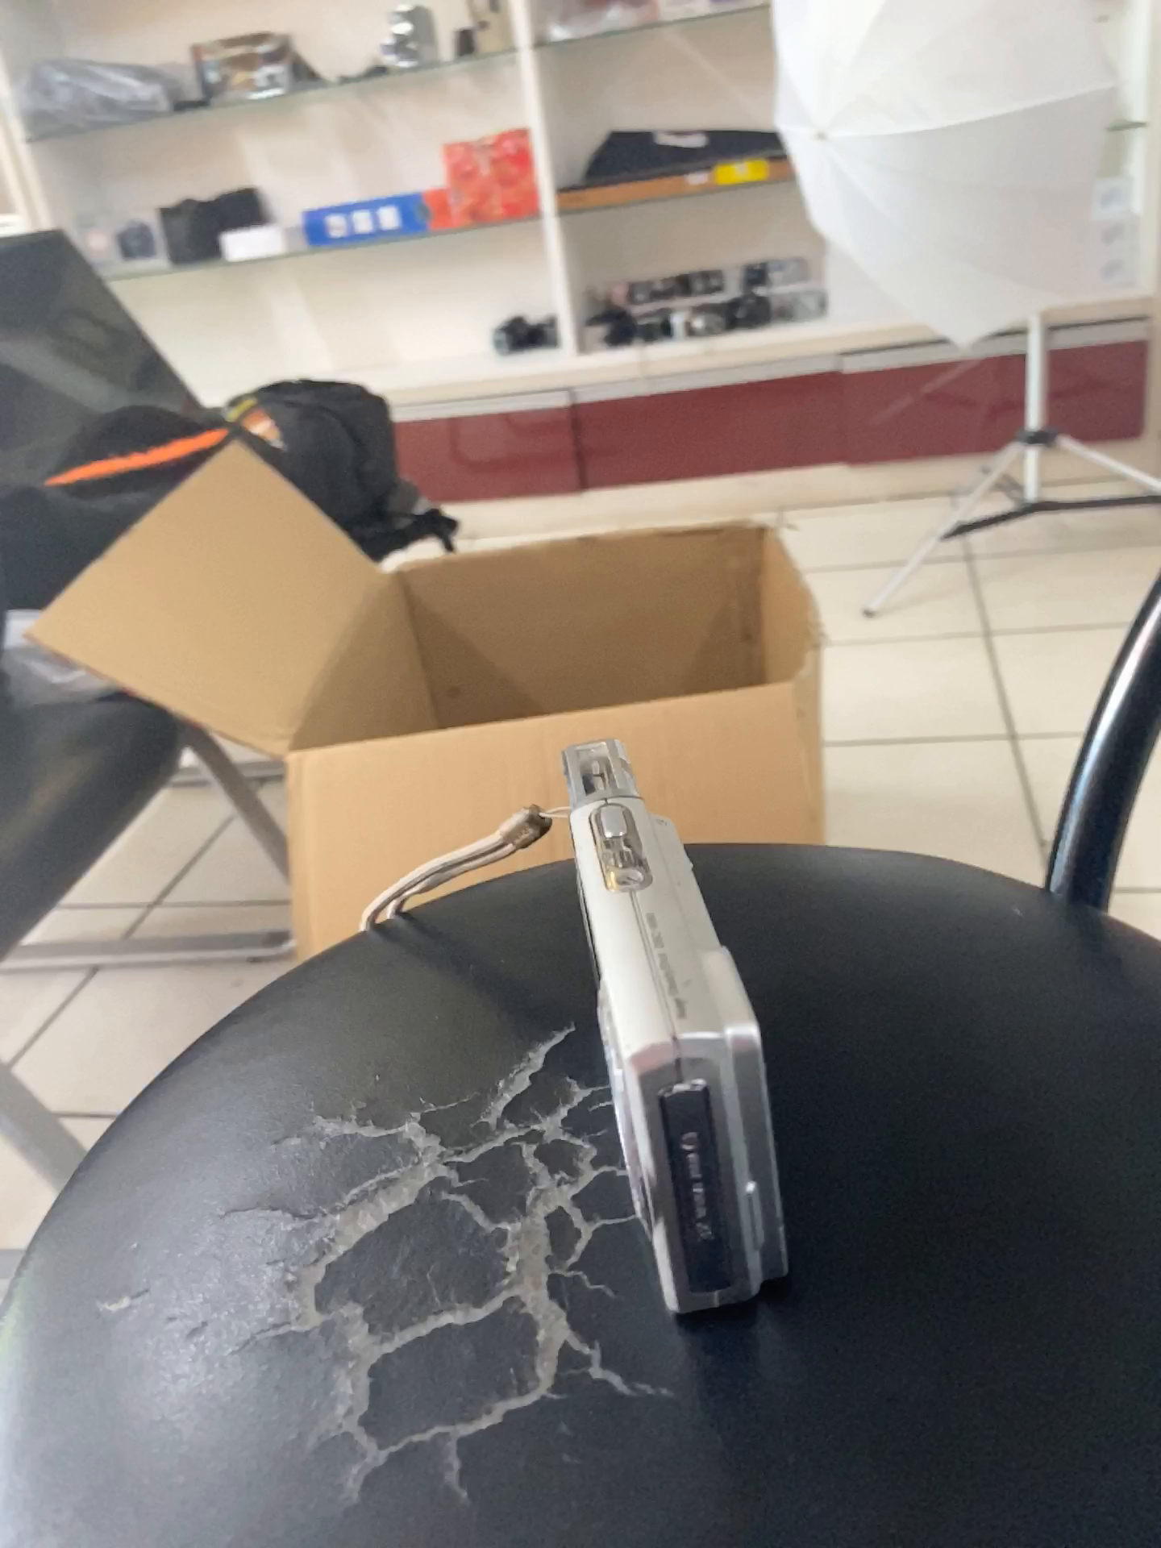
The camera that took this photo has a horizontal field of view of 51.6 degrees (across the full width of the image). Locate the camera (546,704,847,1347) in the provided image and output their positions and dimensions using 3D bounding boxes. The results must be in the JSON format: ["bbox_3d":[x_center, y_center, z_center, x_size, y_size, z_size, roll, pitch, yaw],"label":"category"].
[{"bbox_3d":[0.018,0.039,0.248,0.030,0.053,0.137,-11,27,-2],"label":"camera"}]
